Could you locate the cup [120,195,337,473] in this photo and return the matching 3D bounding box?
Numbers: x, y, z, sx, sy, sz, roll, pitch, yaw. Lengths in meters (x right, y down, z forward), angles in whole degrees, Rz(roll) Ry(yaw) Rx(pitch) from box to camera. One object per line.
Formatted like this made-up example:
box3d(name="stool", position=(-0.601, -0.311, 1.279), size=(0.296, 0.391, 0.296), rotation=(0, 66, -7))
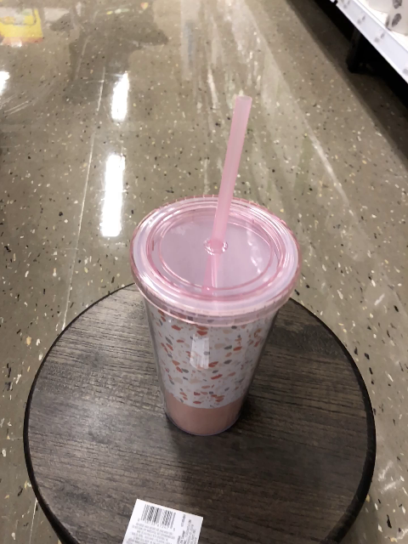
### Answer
box3d(name="cup", position=(0.006, 0.044, 0.296), size=(0.090, 0.150, 0.090), rotation=(2, 46, -2))
